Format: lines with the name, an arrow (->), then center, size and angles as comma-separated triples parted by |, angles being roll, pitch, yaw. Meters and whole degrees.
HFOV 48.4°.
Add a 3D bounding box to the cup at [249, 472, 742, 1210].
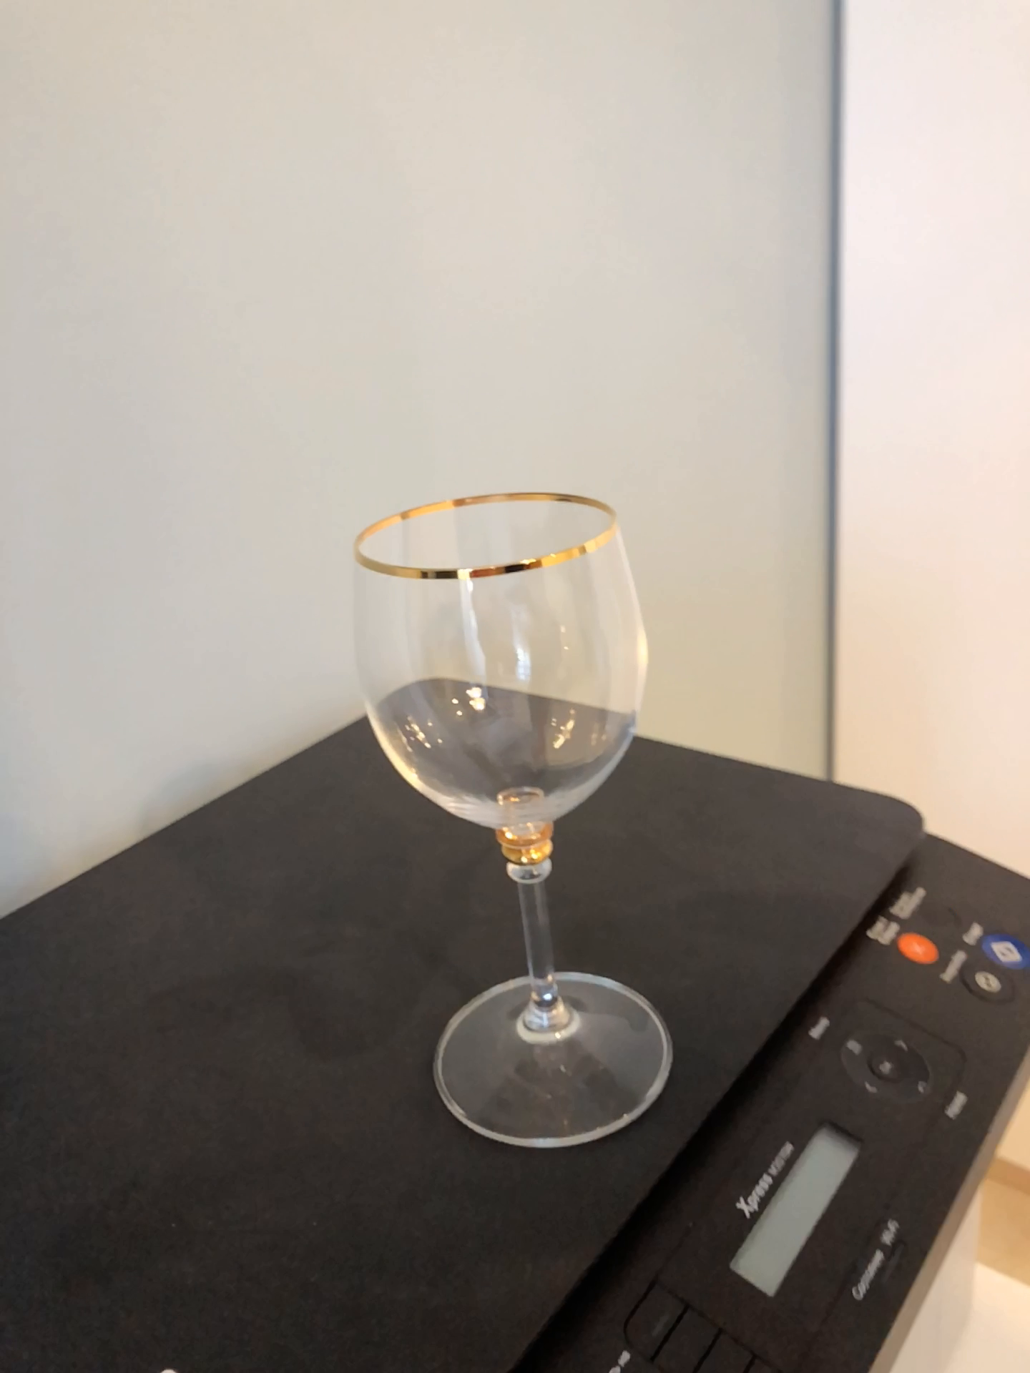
cup -> 0.001, 0.037, 0.335 | 0.086, 0.177, 0.087 | -7, 22, 3
